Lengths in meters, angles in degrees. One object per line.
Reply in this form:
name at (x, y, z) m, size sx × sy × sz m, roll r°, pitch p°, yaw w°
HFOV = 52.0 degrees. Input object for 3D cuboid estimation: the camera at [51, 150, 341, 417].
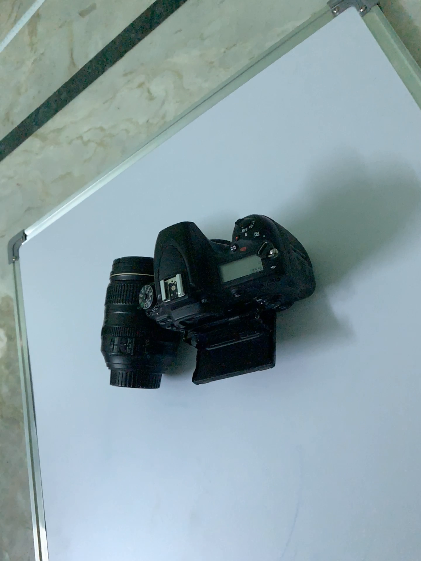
camera at (-0.028, 0.021, 0.418) m, size 0.241 × 0.100 × 0.160 m, roll -24°, pitch 65°, yaw 26°
